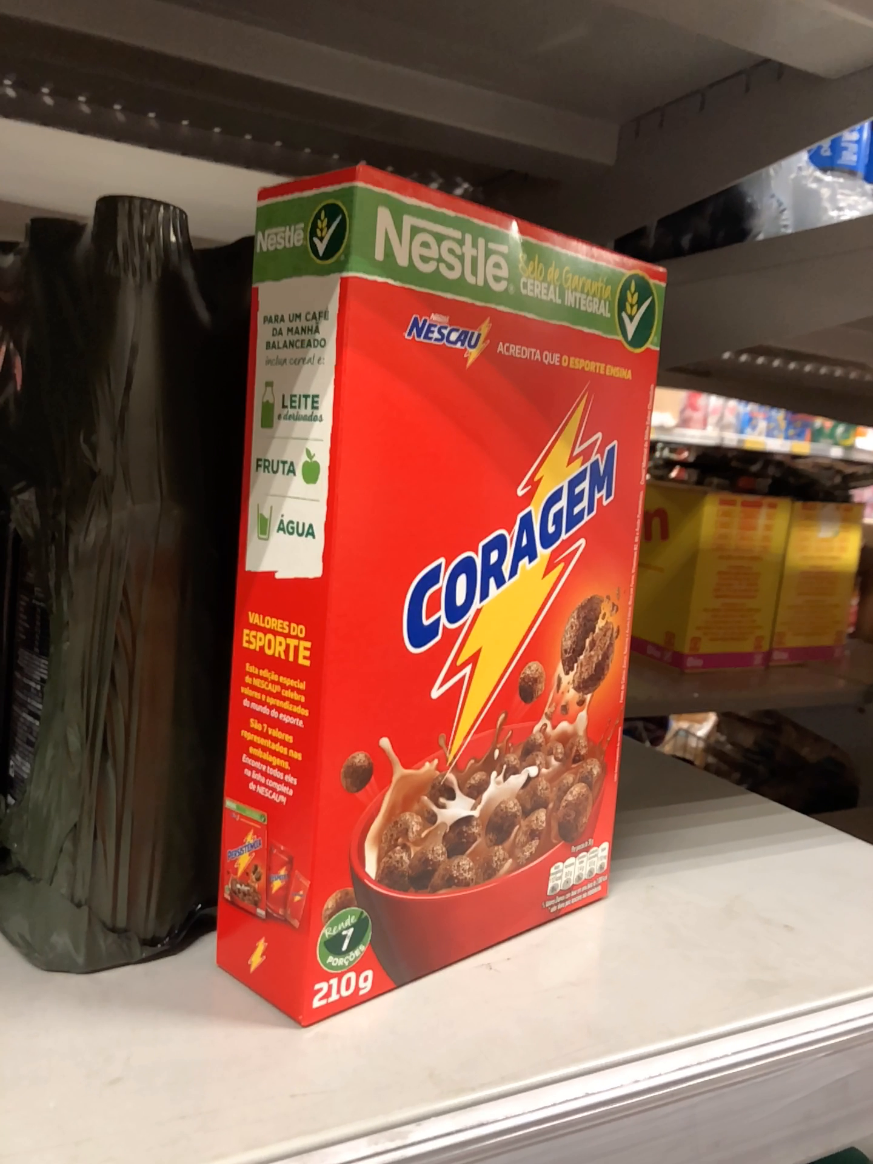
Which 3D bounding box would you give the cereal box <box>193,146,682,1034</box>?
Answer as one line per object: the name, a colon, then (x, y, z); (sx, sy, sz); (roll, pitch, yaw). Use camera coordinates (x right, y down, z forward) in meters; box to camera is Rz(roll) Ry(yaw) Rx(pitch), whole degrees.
cereal box: (0.006, 0.000, 0.350); (0.170, 0.249, 0.060); (-3, 8, -43)
